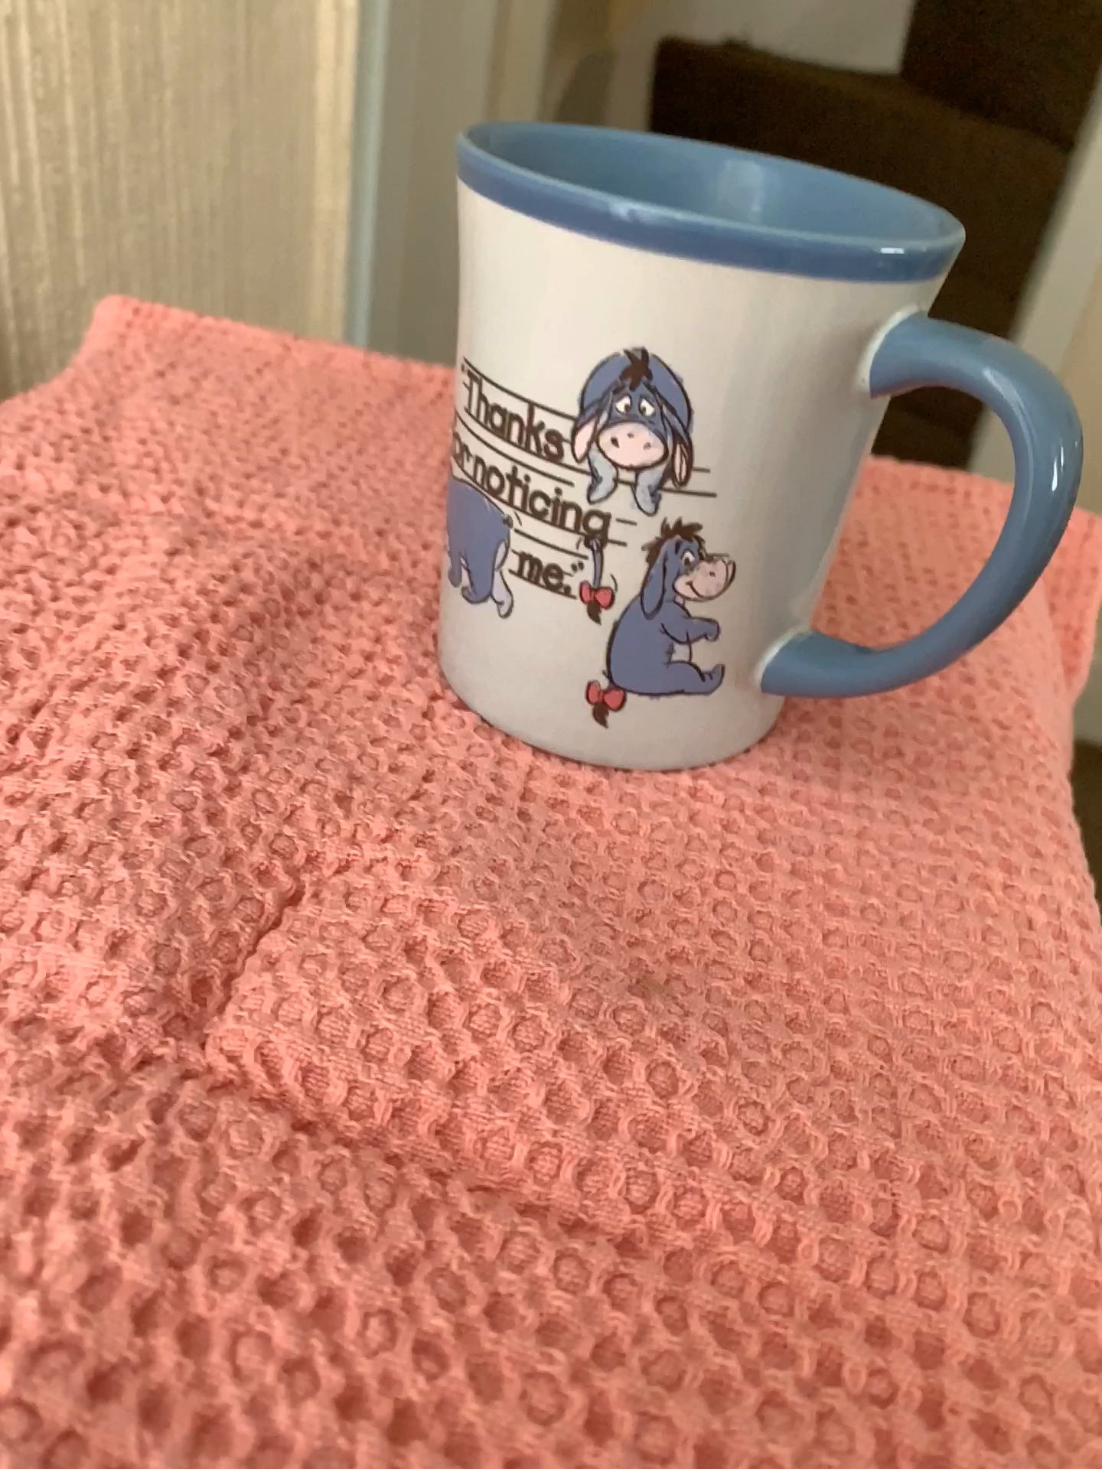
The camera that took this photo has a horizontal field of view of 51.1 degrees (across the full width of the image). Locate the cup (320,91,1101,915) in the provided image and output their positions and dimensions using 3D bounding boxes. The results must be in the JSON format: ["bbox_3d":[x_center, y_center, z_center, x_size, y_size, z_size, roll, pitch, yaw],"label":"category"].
[{"bbox_3d":[0.030,-0.053,0.215,0.110,0.099,0.091,31,38,29],"label":"cup"}]
